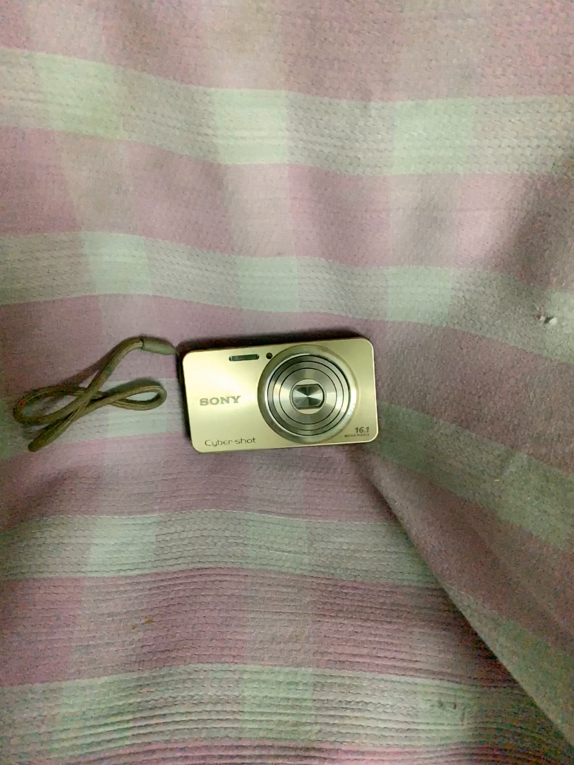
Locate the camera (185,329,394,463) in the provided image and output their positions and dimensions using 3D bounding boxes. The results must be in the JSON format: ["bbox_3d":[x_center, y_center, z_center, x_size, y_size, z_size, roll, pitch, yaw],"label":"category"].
[{"bbox_3d":[0.002,0.006,0.285,0.091,0.027,0.053,-5,98,4],"label":"camera"}]
